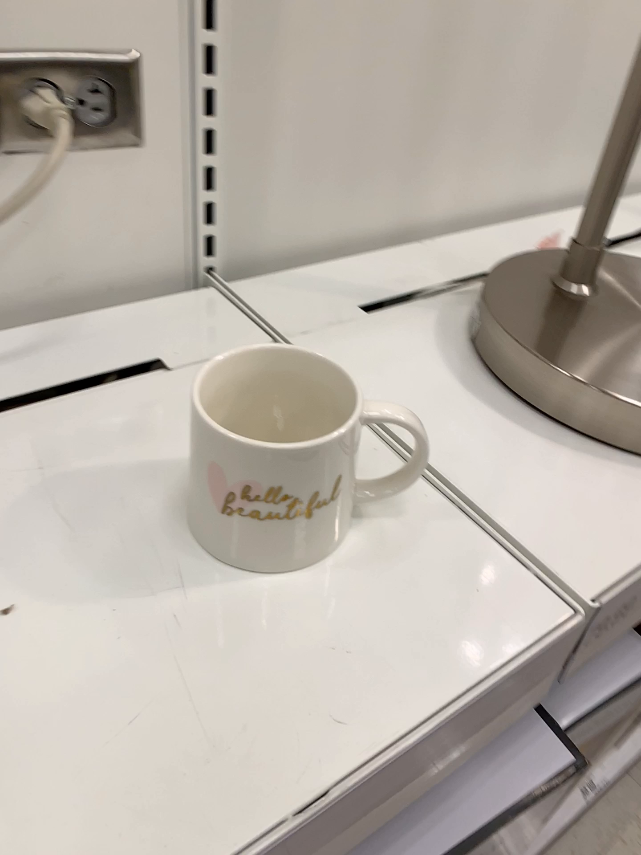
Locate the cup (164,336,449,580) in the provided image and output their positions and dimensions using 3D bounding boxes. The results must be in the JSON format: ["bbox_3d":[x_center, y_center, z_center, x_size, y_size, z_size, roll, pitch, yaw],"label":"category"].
[{"bbox_3d":[-0.011,0.018,0.393,0.140,0.097,0.105,1,40,-4],"label":"cup"}]
